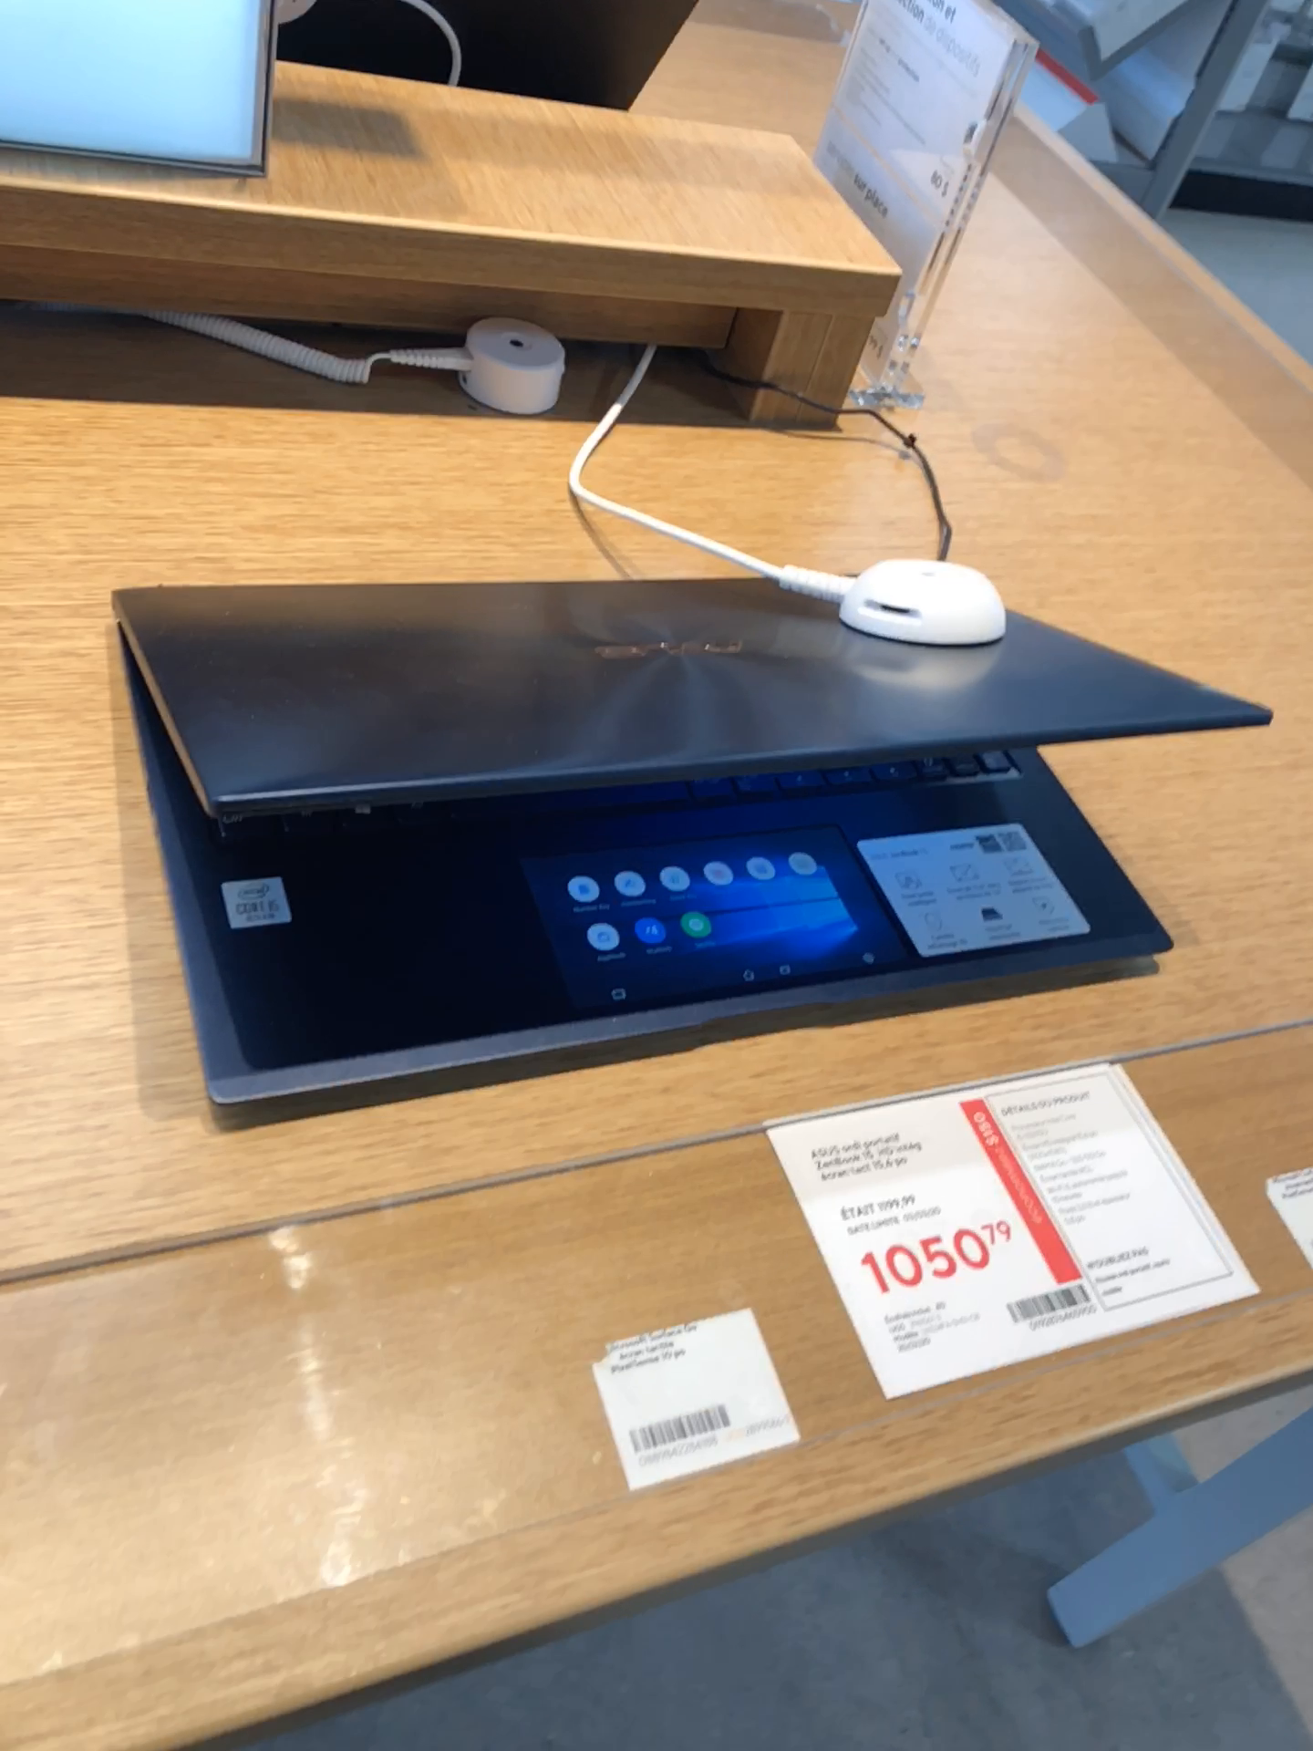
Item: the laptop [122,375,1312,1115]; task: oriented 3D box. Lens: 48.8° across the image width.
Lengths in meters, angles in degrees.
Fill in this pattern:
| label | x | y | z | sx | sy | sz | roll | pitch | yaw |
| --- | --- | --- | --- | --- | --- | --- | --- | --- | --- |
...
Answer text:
| label | x | y | z | sx | sy | sz | roll | pitch | yaw |
| --- | --- | --- | --- | --- | --- | --- | --- | --- | --- |
| laptop | 0.015 | -0.063 | 0.495 | 0.353 | 0.098 | 0.209 | -6 | 51 | -26 |
